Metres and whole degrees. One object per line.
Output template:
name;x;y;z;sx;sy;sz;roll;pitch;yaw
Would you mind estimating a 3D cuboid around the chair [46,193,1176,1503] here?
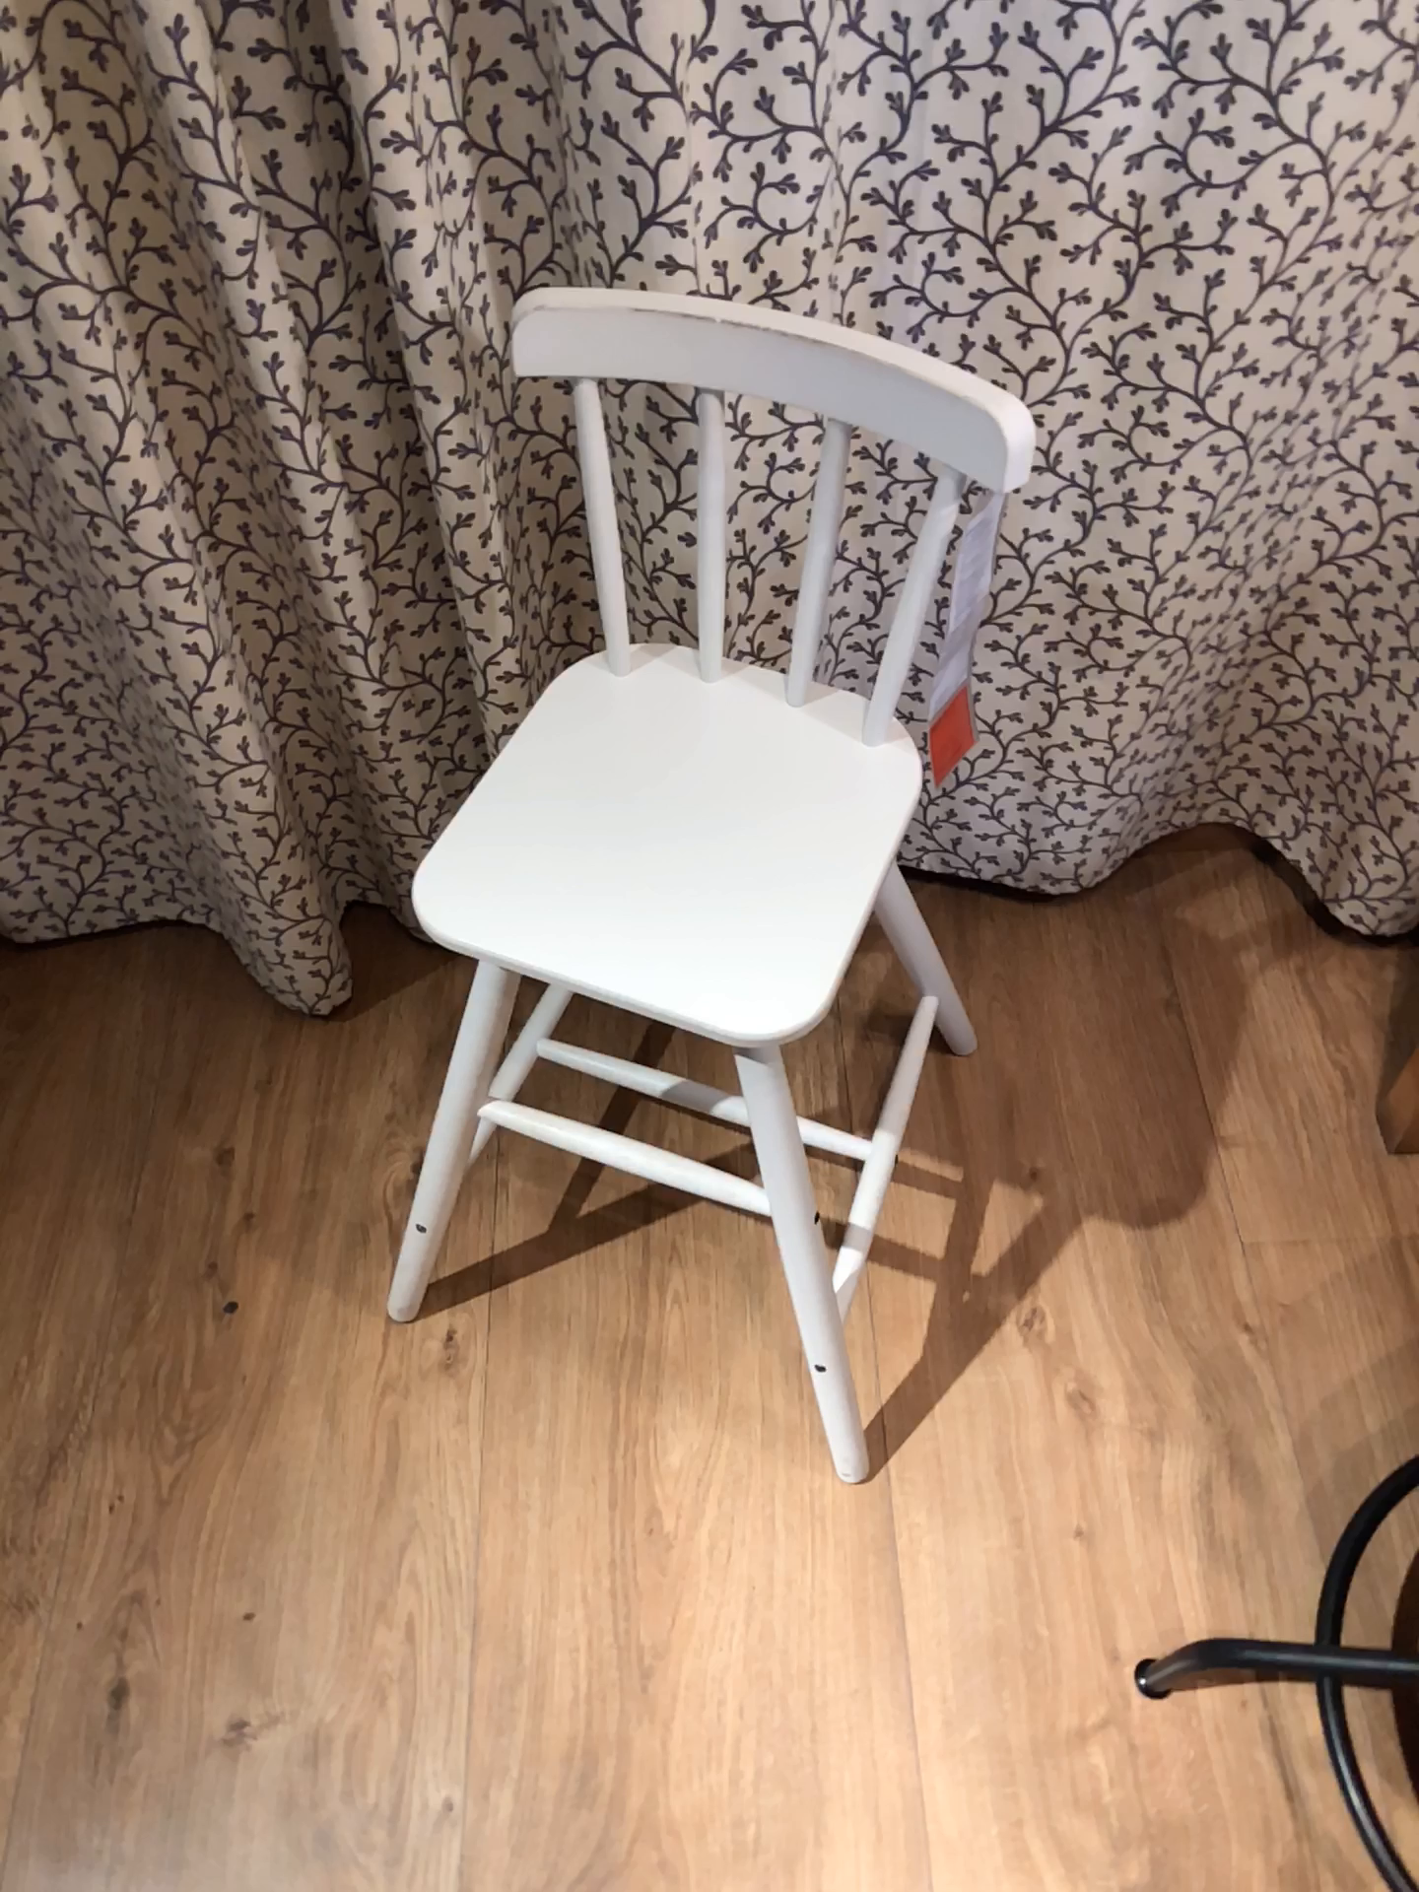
chair;-0.009;-0.019;1.049;0.420;0.706;0.452;15;56;13
